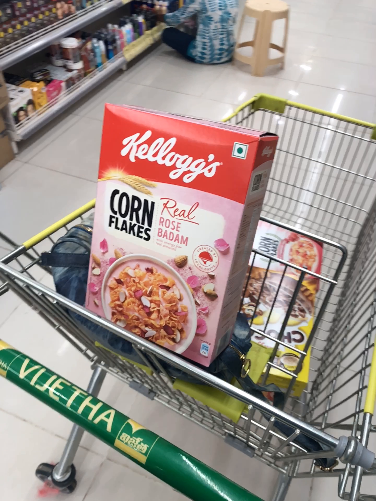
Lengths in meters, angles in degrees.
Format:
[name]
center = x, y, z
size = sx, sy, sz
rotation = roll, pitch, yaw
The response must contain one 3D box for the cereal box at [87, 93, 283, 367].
[cereal box]
center = -0.019, -0.027, 0.504
size = 0.190, 0.279, 0.070
rotation = 19, 27, 22
